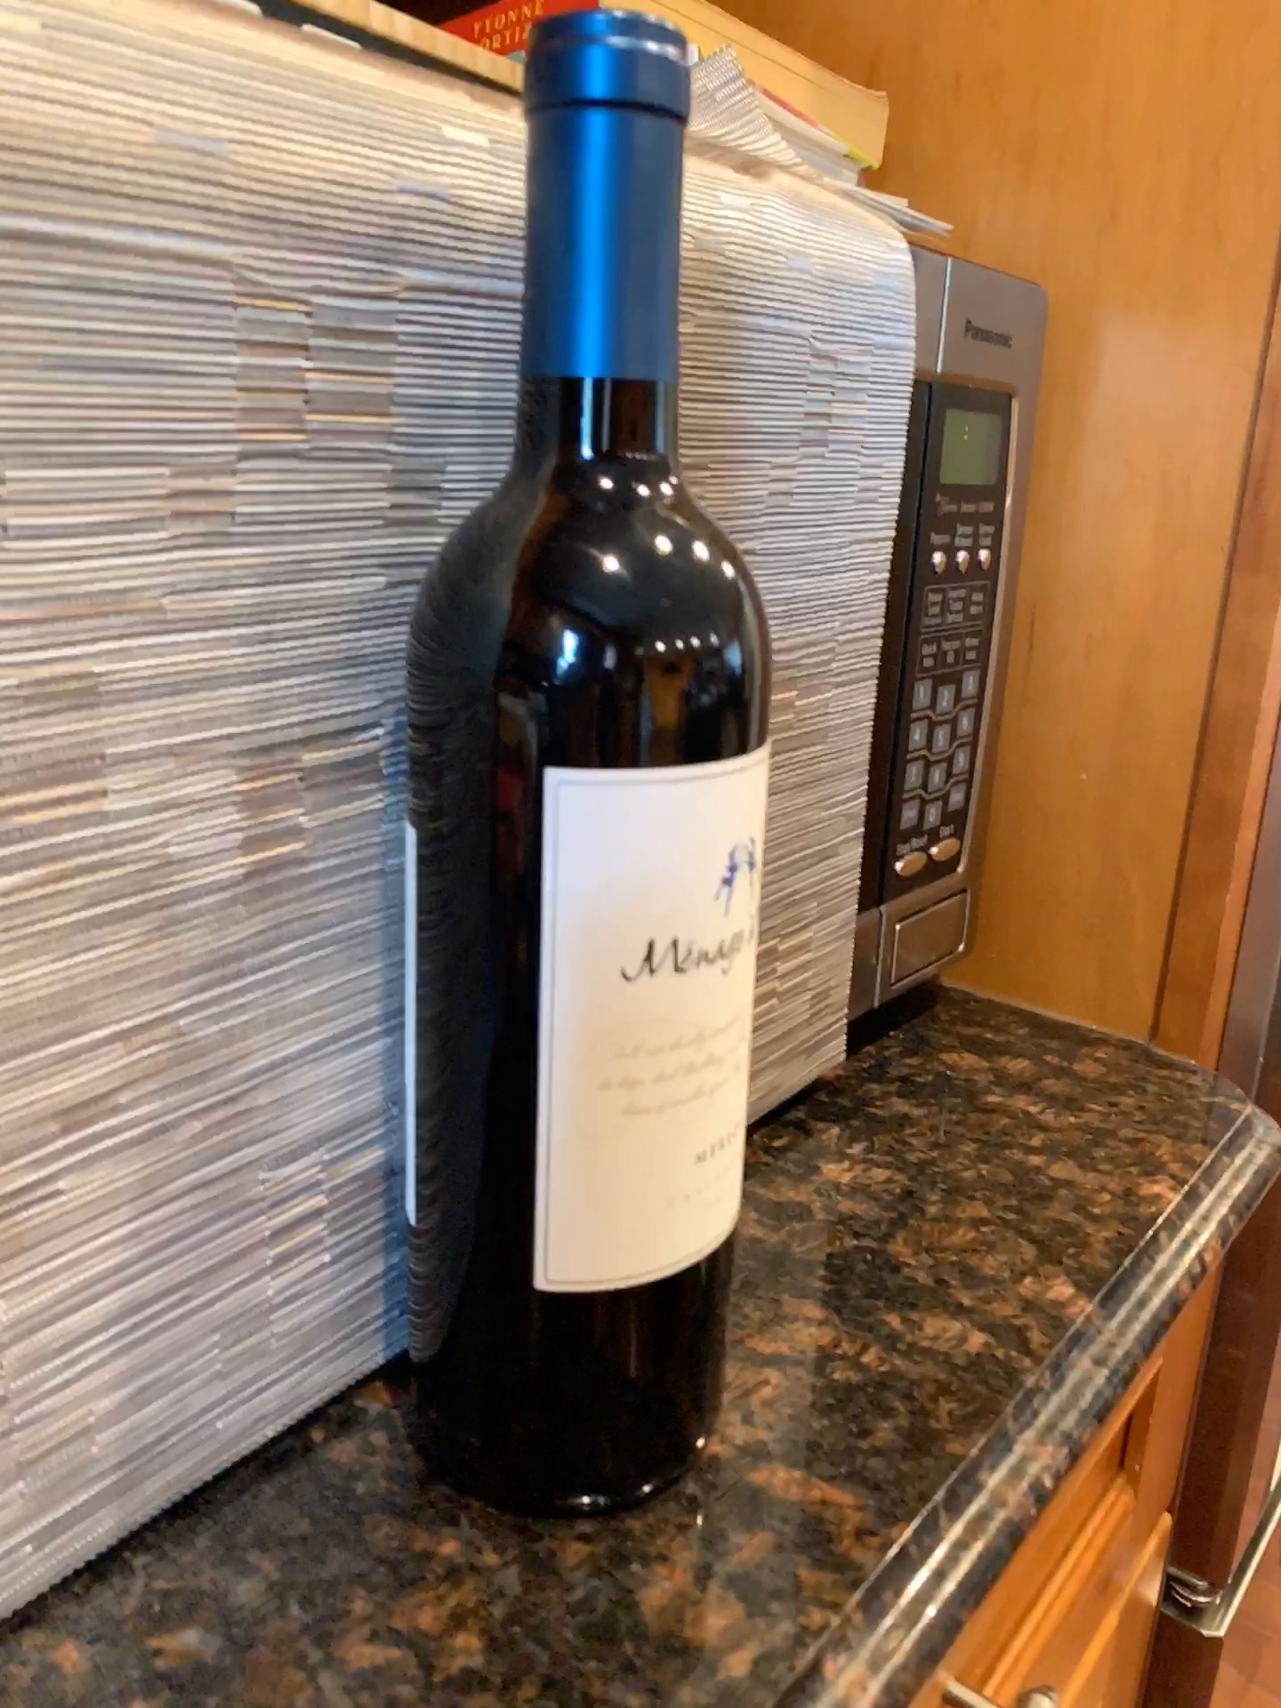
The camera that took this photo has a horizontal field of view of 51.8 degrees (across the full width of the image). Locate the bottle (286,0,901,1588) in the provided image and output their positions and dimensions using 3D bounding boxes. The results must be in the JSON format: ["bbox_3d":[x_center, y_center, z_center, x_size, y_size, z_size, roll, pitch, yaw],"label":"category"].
[{"bbox_3d":[-0.014,-0.014,0.283,0.080,0.309,0.080,3,16,-1],"label":"bottle"}]
